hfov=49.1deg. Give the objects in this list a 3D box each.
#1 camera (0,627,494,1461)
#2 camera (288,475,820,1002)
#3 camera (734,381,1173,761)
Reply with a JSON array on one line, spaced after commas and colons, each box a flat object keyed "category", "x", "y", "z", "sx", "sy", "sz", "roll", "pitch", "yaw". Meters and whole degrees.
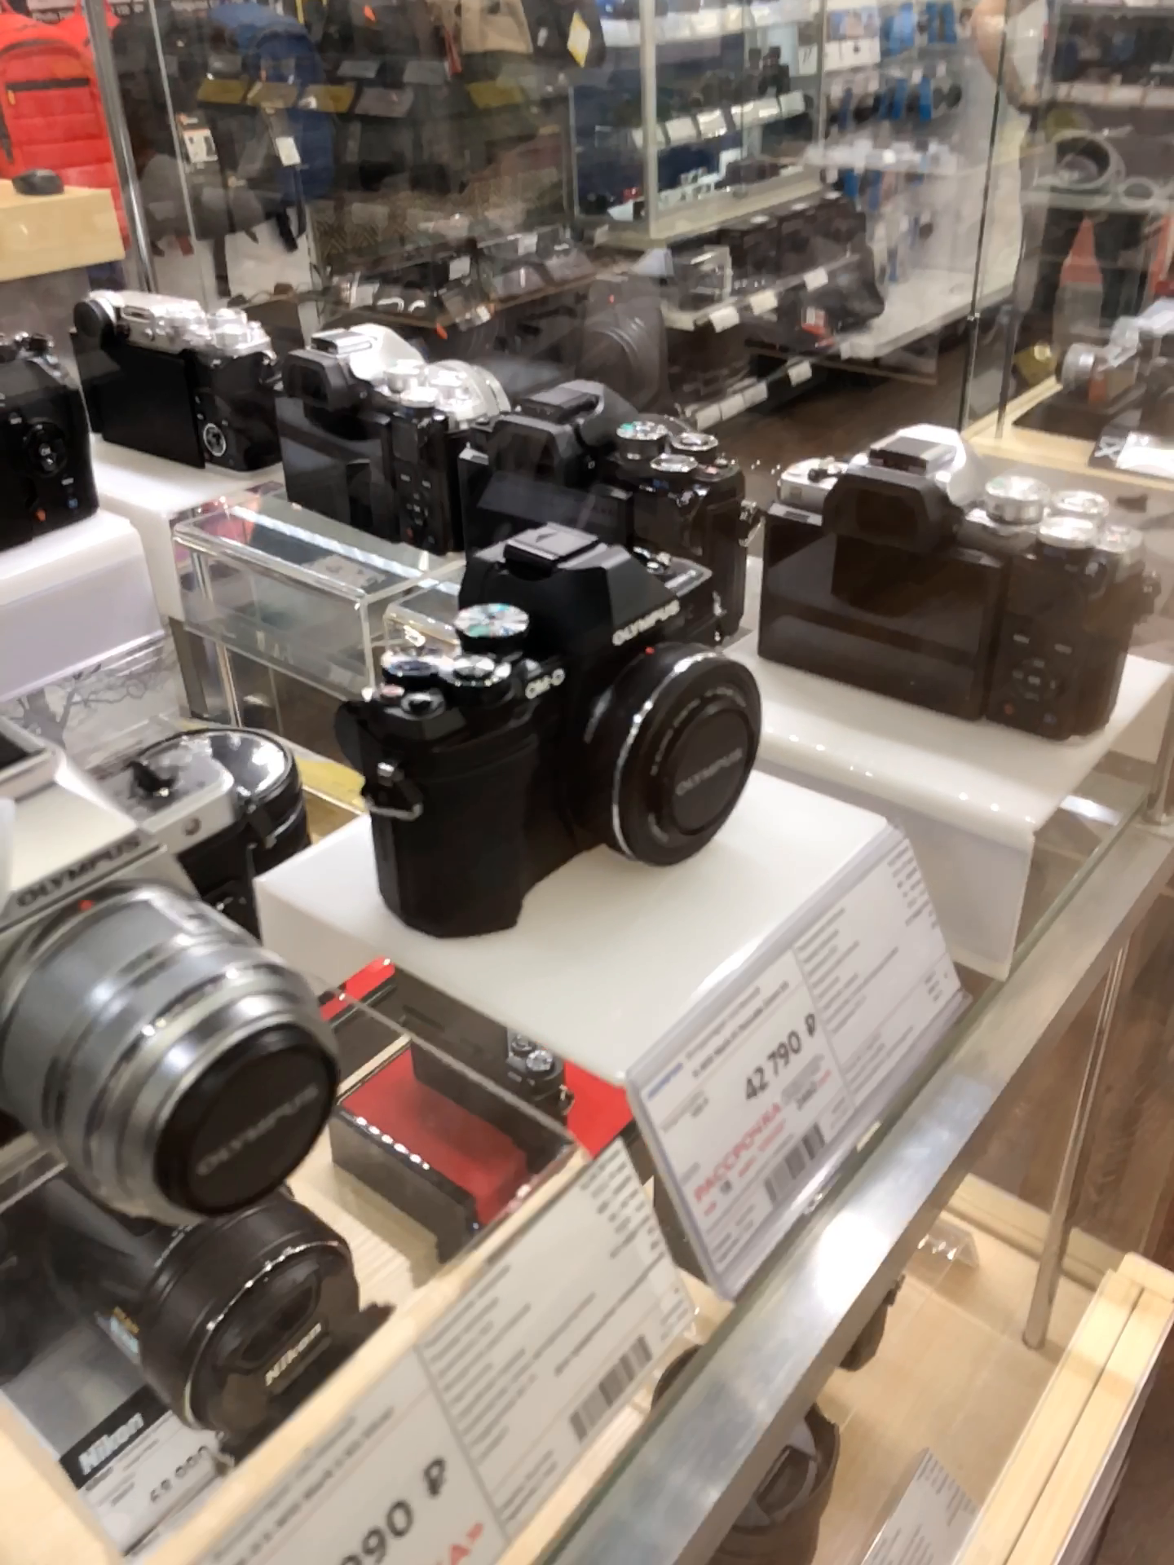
[{"category": "camera", "x": -0.094, "y": 0.038, "z": 0.251, "sx": 0.094, "sy": 0.080, "sz": 0.112, "roll": 24, "pitch": 41, "yaw": 35}, {"category": "camera", "x": -0.003, "y": -0.020, "z": 0.348, "sx": 0.064, "sy": 0.082, "sz": 0.130, "roll": 24, "pitch": 41, "yaw": 35}, {"category": "camera", "x": 0.128, "y": -0.078, "z": 0.432, "sx": 0.123, "sy": 0.074, "sz": 0.094, "roll": 21, "pitch": 39, "yaw": 32}]
